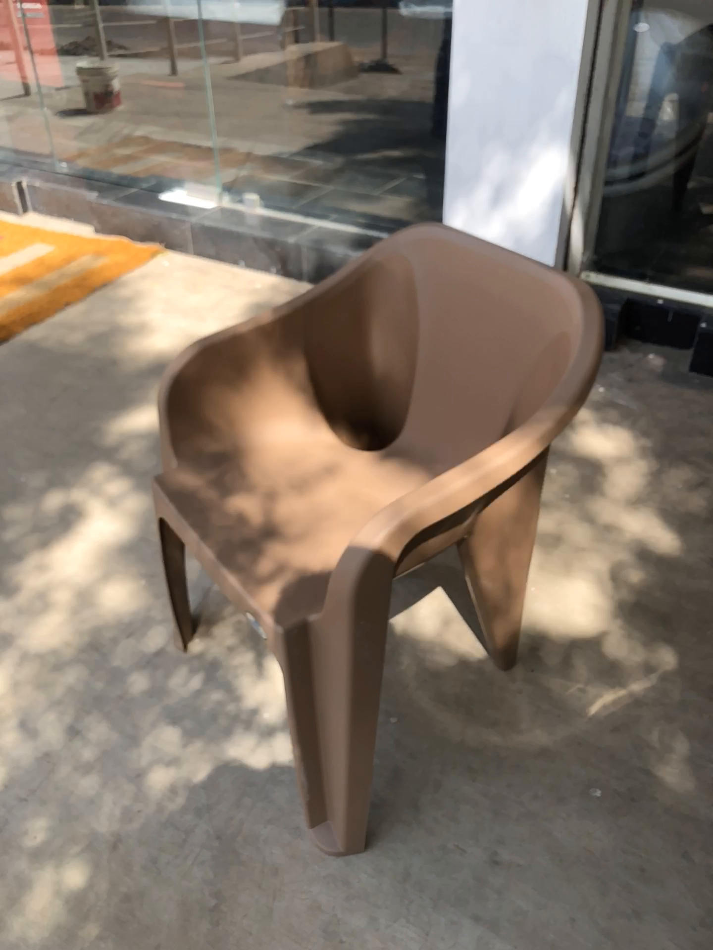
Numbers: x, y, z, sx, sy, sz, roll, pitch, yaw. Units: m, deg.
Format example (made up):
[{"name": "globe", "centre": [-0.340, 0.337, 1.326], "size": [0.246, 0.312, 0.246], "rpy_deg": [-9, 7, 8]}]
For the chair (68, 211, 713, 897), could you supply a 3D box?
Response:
[{"name": "chair", "centre": [0.069, 0.043, 1.283], "size": [0.722, 0.637, 0.641], "rpy_deg": [-24, 41, -28]}]
